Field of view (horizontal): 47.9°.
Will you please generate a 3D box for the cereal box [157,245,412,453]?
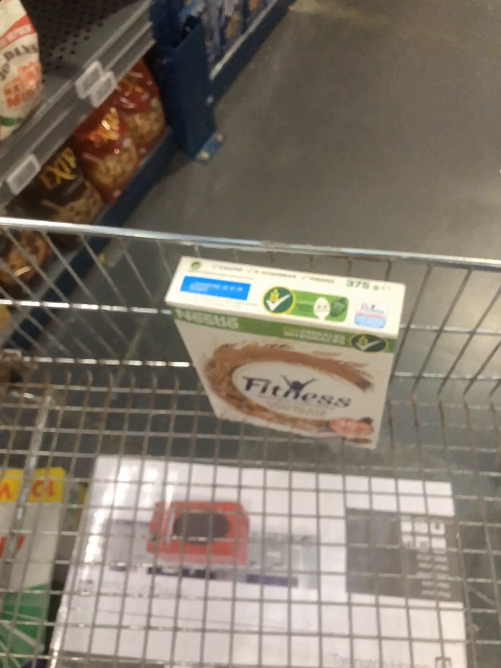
[{"bbox_3d":[0.041,0.029,0.570,0.200,0.259,0.060,9,61,13],"label":"cereal box"}]
